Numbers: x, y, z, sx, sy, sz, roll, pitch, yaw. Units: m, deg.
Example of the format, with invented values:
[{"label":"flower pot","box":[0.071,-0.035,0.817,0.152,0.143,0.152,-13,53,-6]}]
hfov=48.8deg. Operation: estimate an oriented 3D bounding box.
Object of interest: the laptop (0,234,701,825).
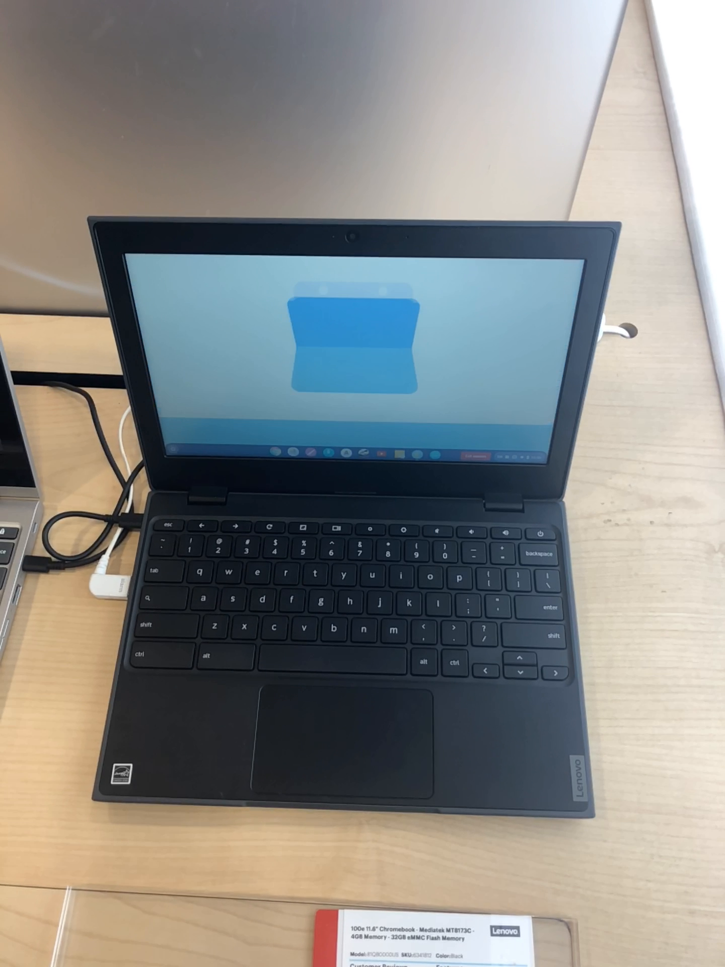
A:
[{"label":"laptop","box":[-0.006,0.030,0.441,0.281,0.179,0.271,1,60,2]}]
